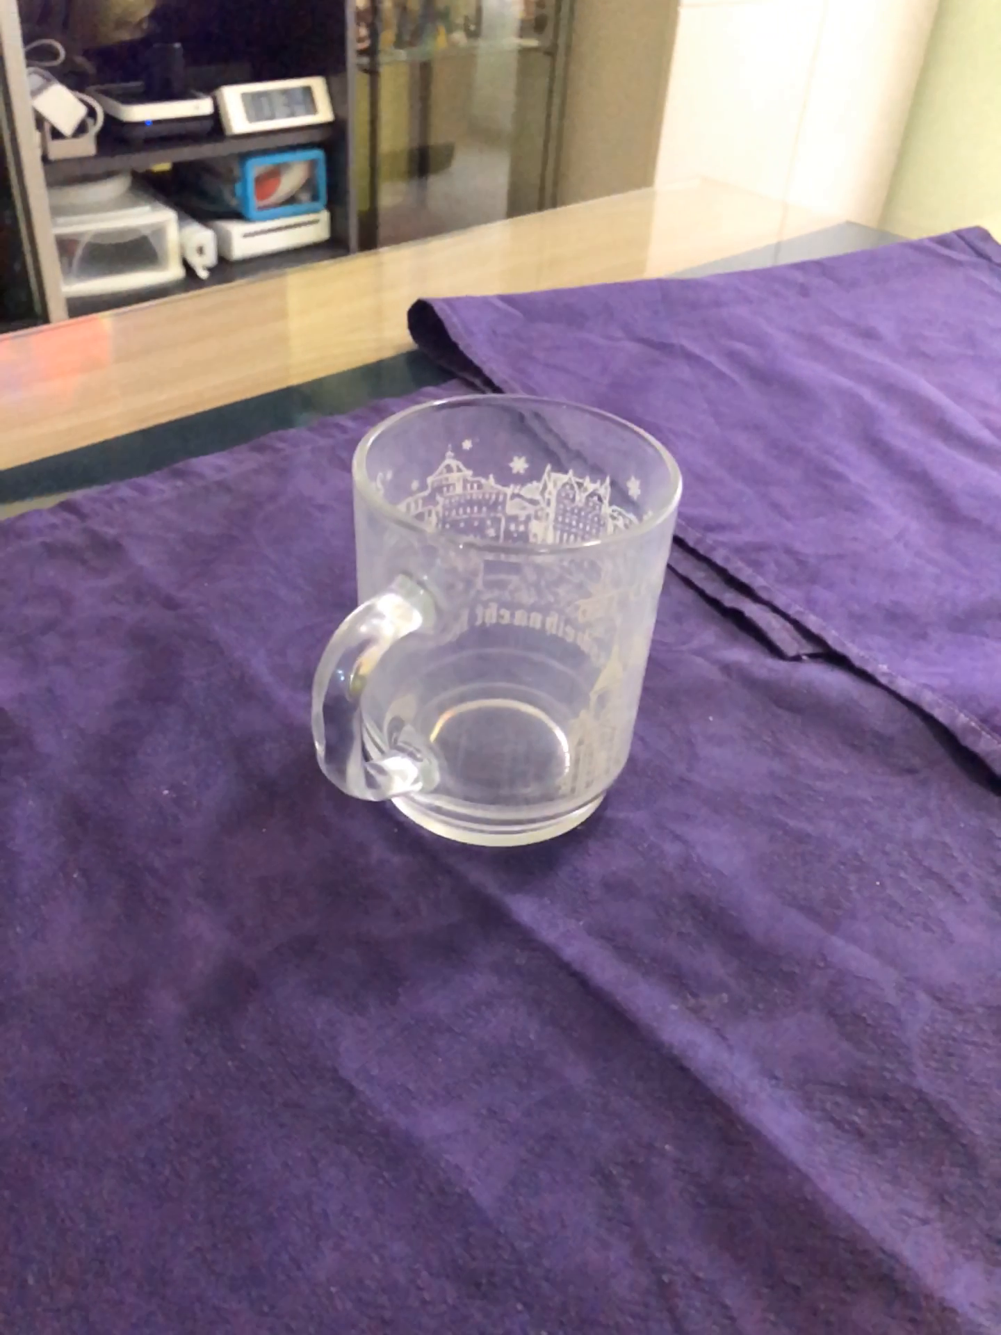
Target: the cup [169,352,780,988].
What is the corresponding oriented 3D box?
[{"bbox_3d":[-0.003,-0.007,0.240,0.070,0.080,0.100,28,43,30],"label":"cup"}]
